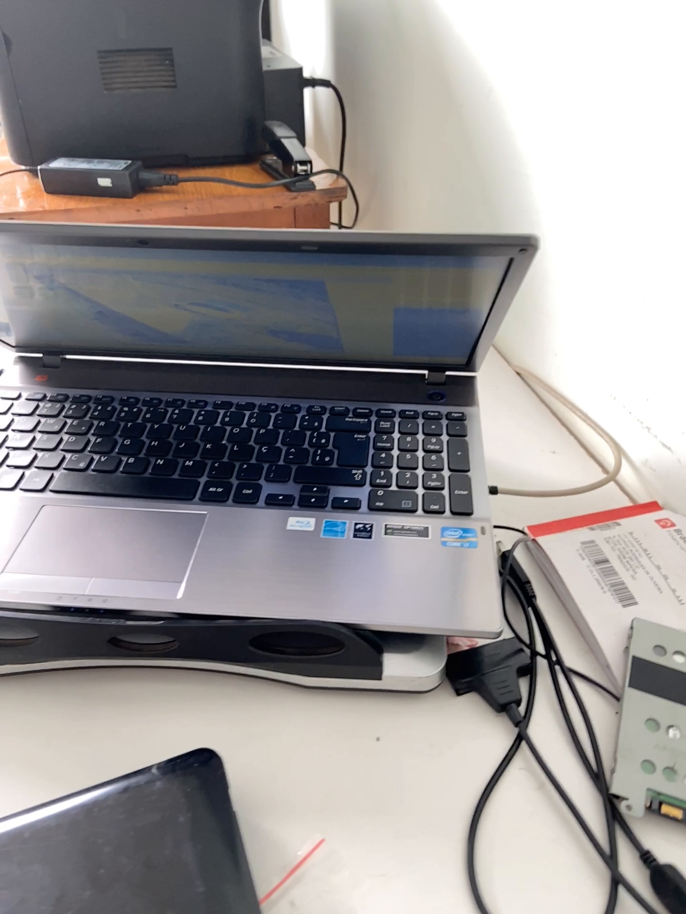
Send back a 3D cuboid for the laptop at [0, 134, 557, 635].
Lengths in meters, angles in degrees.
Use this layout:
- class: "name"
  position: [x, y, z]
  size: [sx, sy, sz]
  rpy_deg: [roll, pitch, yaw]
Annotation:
- class: "laptop"
  position: [-0.089, -0.060, 0.413]
  size: [0.358, 0.164, 0.232]
  rpy_deg: [3, 40, 3]
